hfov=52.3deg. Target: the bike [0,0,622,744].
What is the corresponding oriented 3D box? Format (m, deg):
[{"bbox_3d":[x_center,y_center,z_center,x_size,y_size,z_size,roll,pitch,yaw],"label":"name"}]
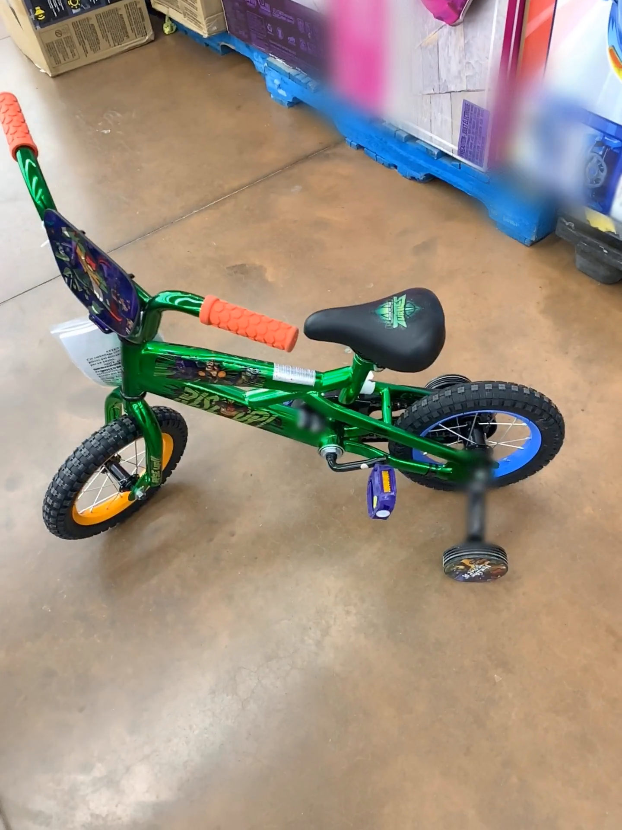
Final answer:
[{"bbox_3d":[-0.016,-0.016,0.825,0.850,0.732,0.491,-9,51,-4],"label":"bike"}]
